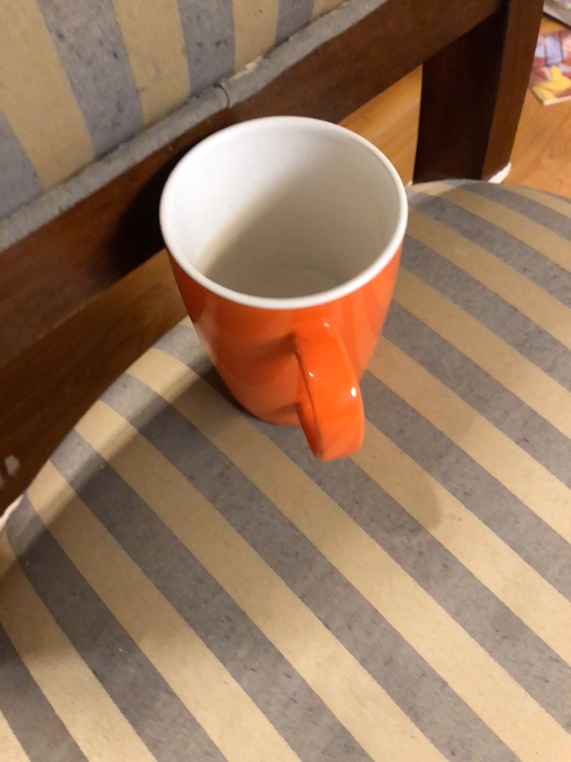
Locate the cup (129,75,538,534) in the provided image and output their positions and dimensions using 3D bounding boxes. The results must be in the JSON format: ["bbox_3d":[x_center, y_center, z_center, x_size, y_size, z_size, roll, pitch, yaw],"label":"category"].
[{"bbox_3d":[0.009,-0.025,0.244,0.090,0.100,0.120,-18,64,-8],"label":"cup"}]
